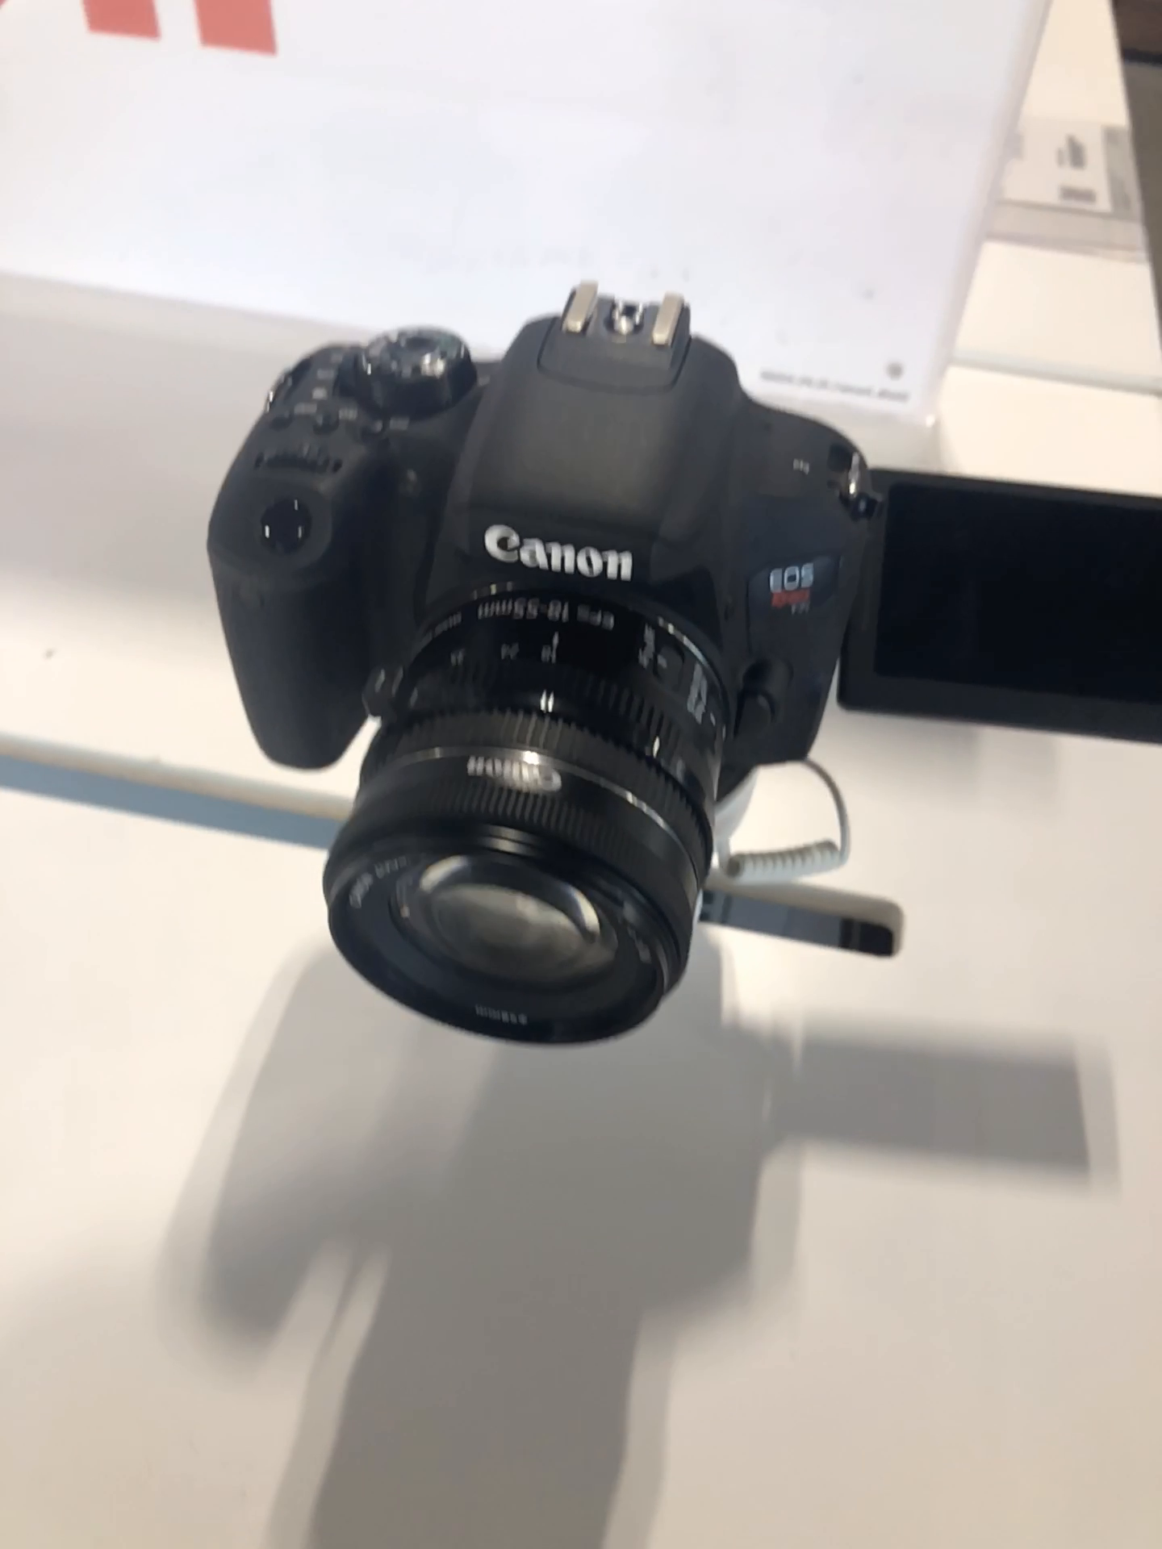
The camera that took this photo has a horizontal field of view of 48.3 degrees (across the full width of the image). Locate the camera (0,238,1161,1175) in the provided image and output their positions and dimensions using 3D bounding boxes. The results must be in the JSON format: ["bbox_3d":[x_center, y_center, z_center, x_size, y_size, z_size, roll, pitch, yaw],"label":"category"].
[{"bbox_3d":[0.028,-0.016,0.248,0.210,0.099,0.111,9,50,5],"label":"camera"}]
